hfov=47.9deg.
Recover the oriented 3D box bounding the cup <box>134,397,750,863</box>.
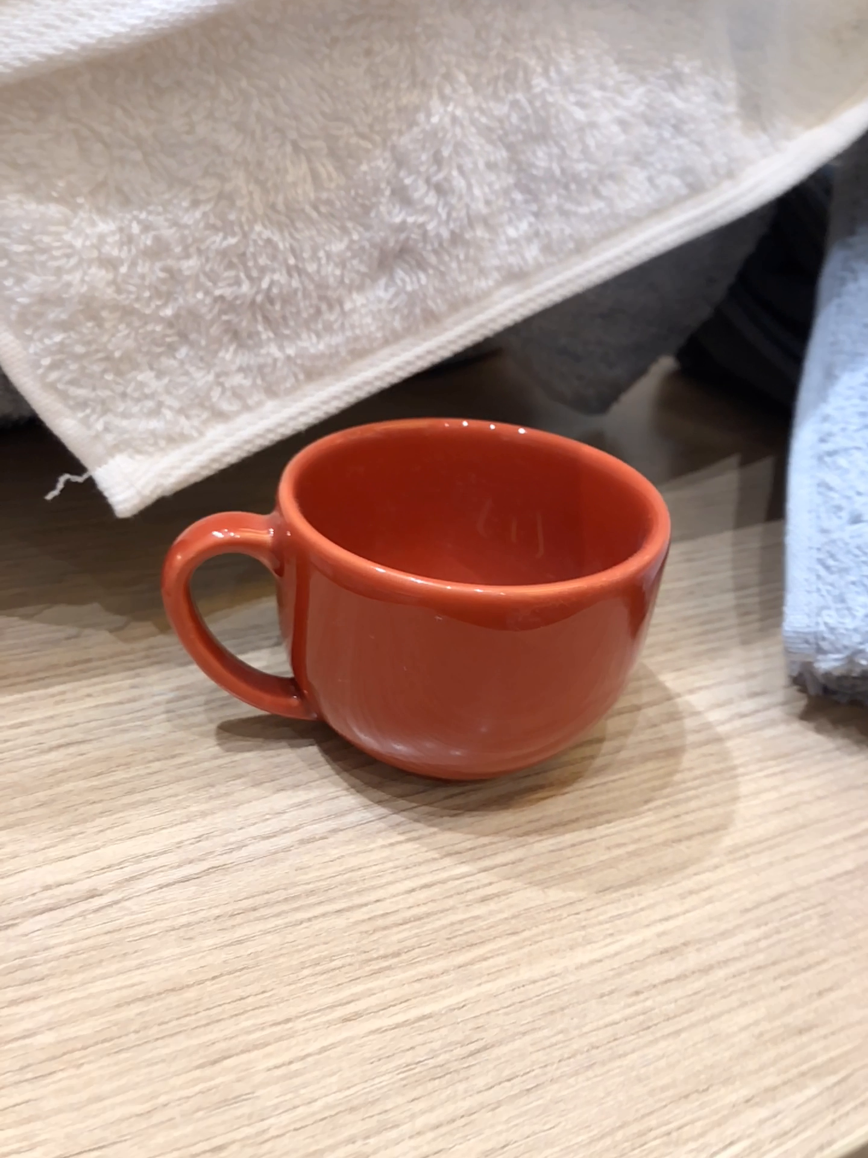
[{"bbox_3d":[-0.006,0.002,0.203,0.100,0.050,0.081,-6,32,-19],"label":"cup"}]
